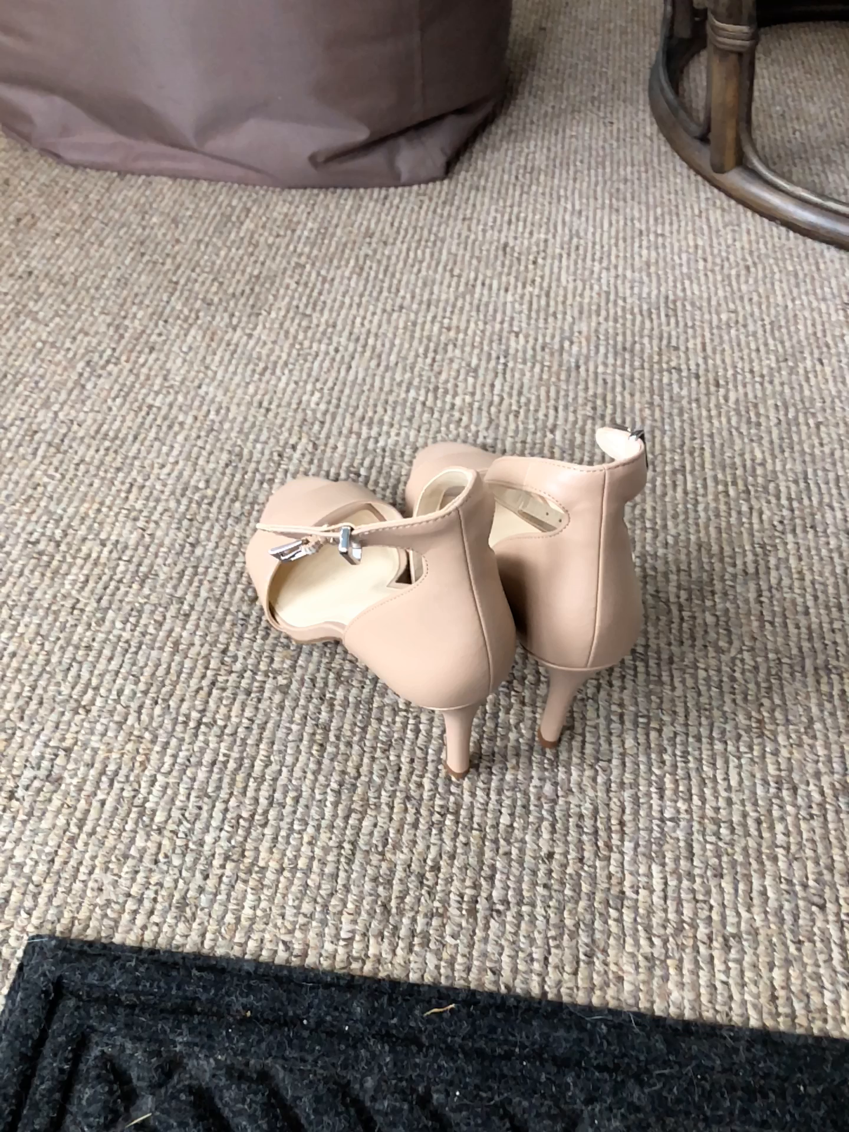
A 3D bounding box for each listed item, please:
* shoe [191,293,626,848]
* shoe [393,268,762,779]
[{"bbox_3d":[-0.020,-0.005,0.458,0.106,0.144,0.207,-19,53,-20],"label":"shoe"},{"bbox_3d":[0.058,-0.027,0.492,0.099,0.154,0.207,-9,51,-12],"label":"shoe"}]
